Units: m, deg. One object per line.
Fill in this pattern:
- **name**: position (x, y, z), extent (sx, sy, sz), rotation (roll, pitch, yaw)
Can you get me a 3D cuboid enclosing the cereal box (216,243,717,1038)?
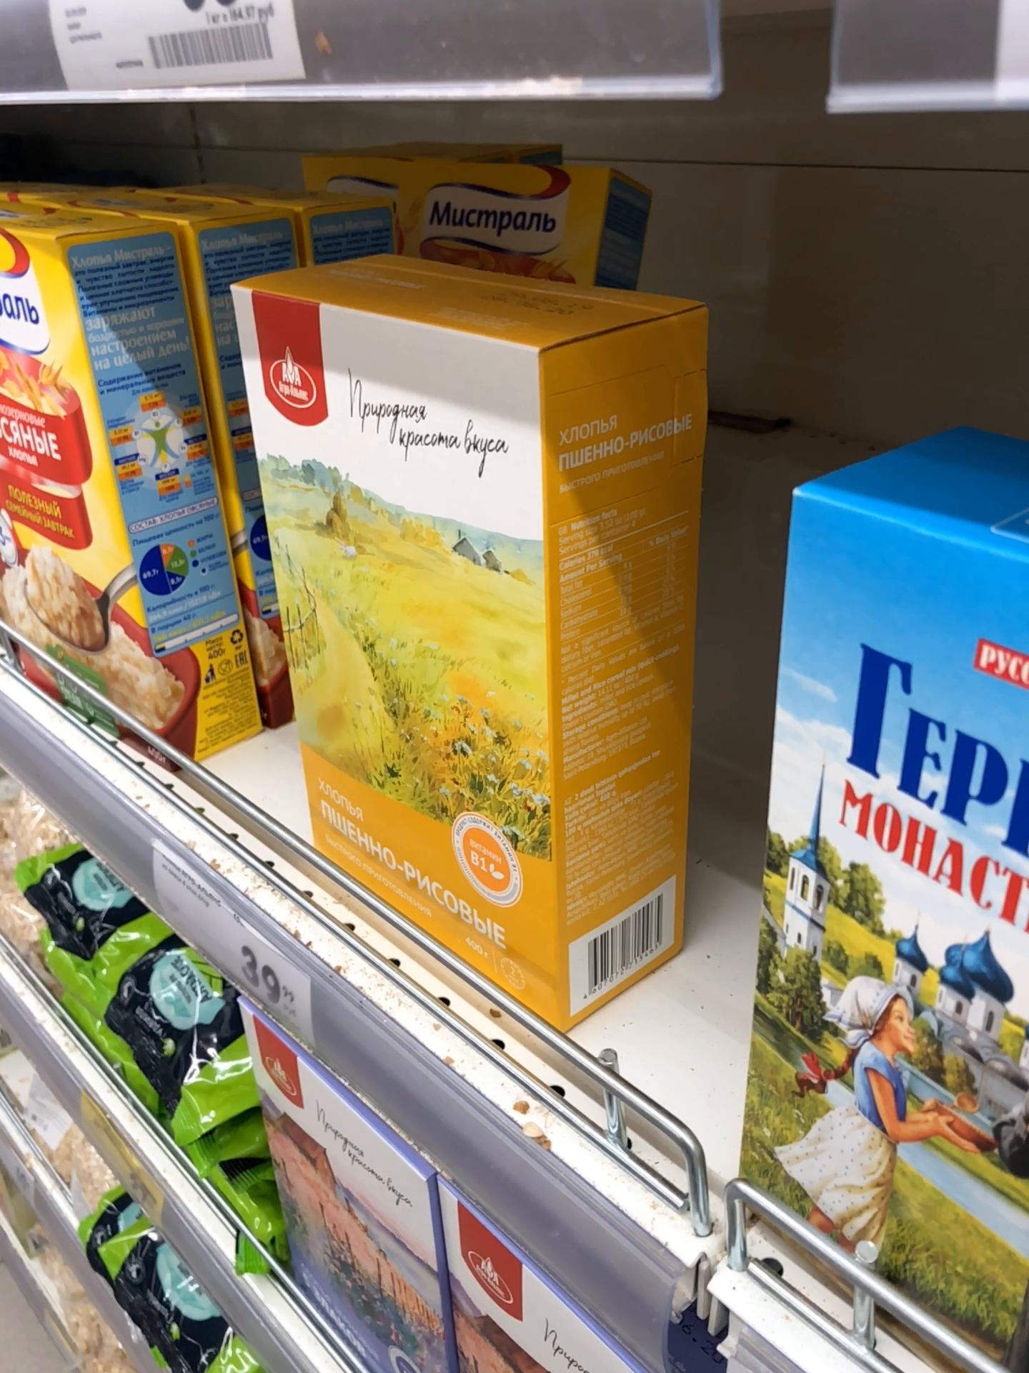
- **cereal box**: position (-0.014, -0.019, 0.341), extent (0.060, 0.199, 0.130), rotation (-25, 35, -35)
